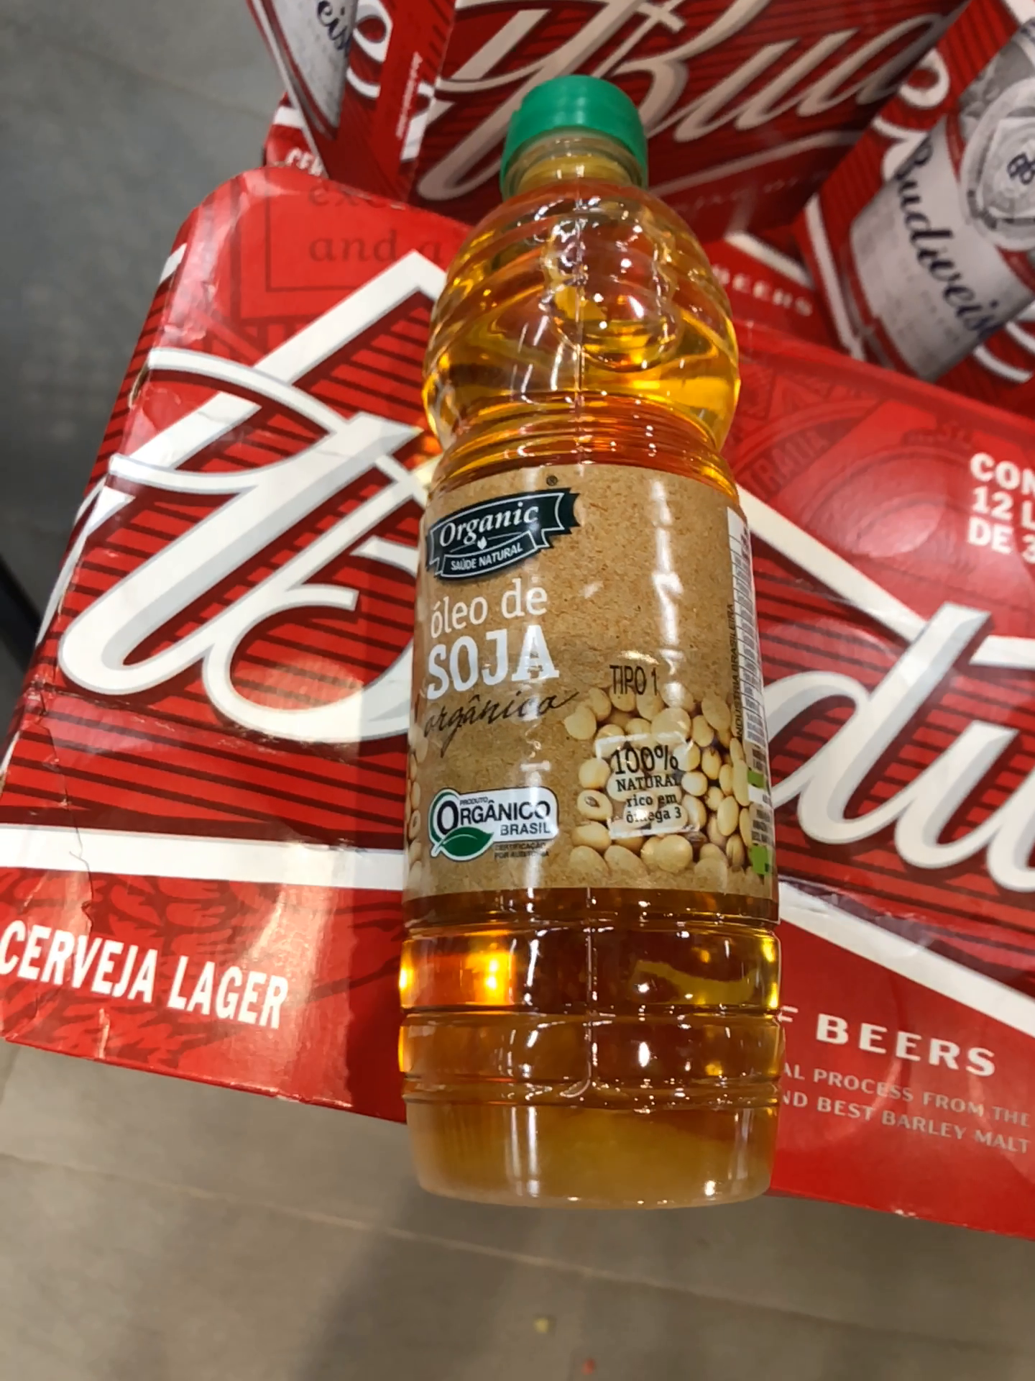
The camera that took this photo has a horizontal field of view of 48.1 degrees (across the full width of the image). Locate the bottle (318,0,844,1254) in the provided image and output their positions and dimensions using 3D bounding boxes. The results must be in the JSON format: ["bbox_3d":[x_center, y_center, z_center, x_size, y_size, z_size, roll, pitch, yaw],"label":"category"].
[{"bbox_3d":[0.013,-0.033,0.219,0.060,0.060,0.240,20,65,-48],"label":"bottle"}]
